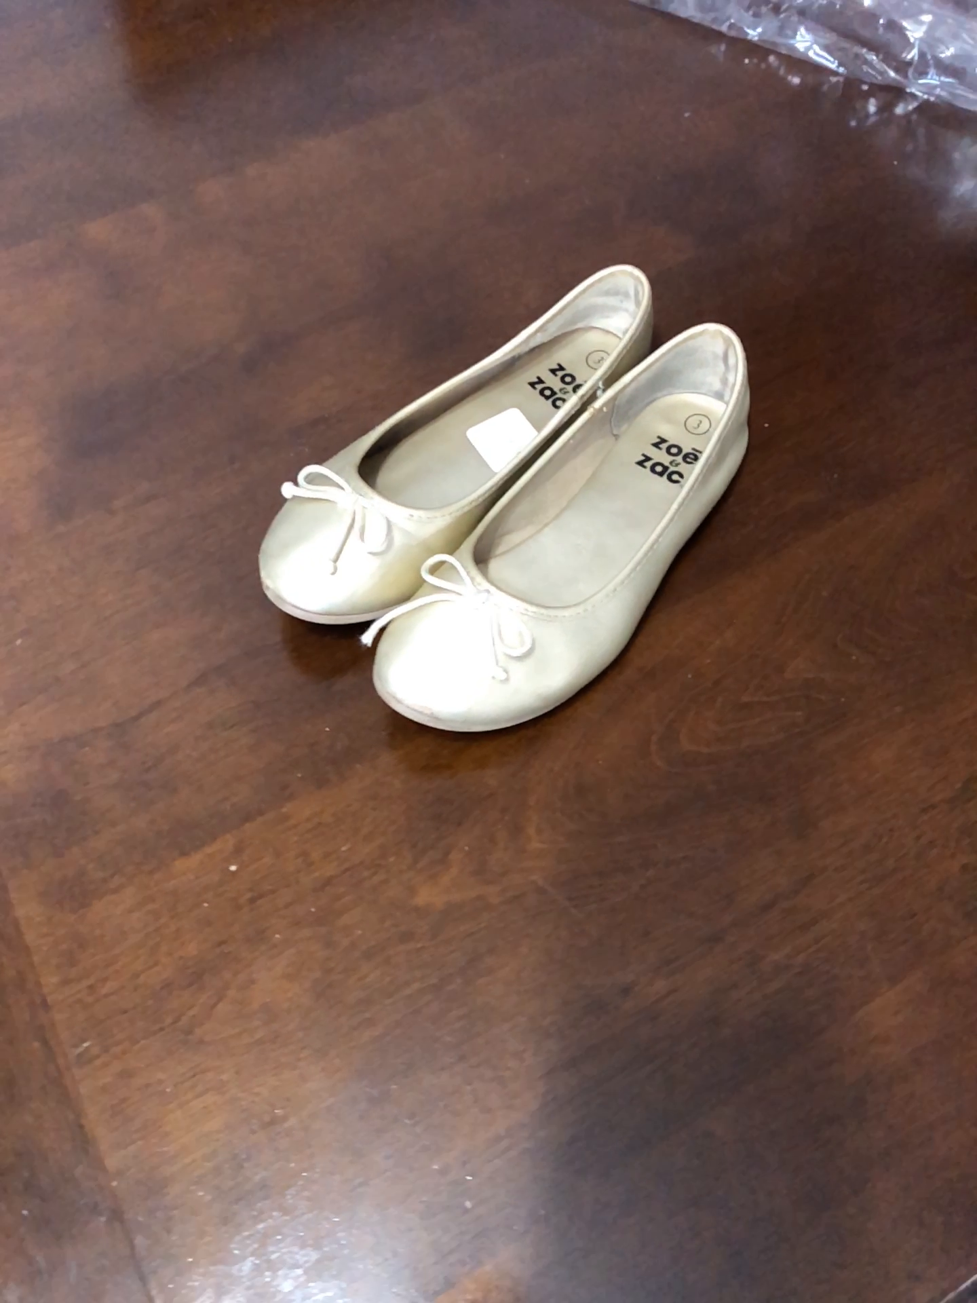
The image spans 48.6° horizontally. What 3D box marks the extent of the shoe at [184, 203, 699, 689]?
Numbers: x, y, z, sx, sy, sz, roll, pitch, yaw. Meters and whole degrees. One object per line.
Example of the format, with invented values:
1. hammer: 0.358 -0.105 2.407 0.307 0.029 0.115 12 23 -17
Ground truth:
1. shoe: -0.013 -0.098 0.487 0.080 0.070 0.230 38 67 21

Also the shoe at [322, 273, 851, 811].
1. shoe: 0.047 -0.054 0.466 0.090 0.070 0.230 36 66 20
